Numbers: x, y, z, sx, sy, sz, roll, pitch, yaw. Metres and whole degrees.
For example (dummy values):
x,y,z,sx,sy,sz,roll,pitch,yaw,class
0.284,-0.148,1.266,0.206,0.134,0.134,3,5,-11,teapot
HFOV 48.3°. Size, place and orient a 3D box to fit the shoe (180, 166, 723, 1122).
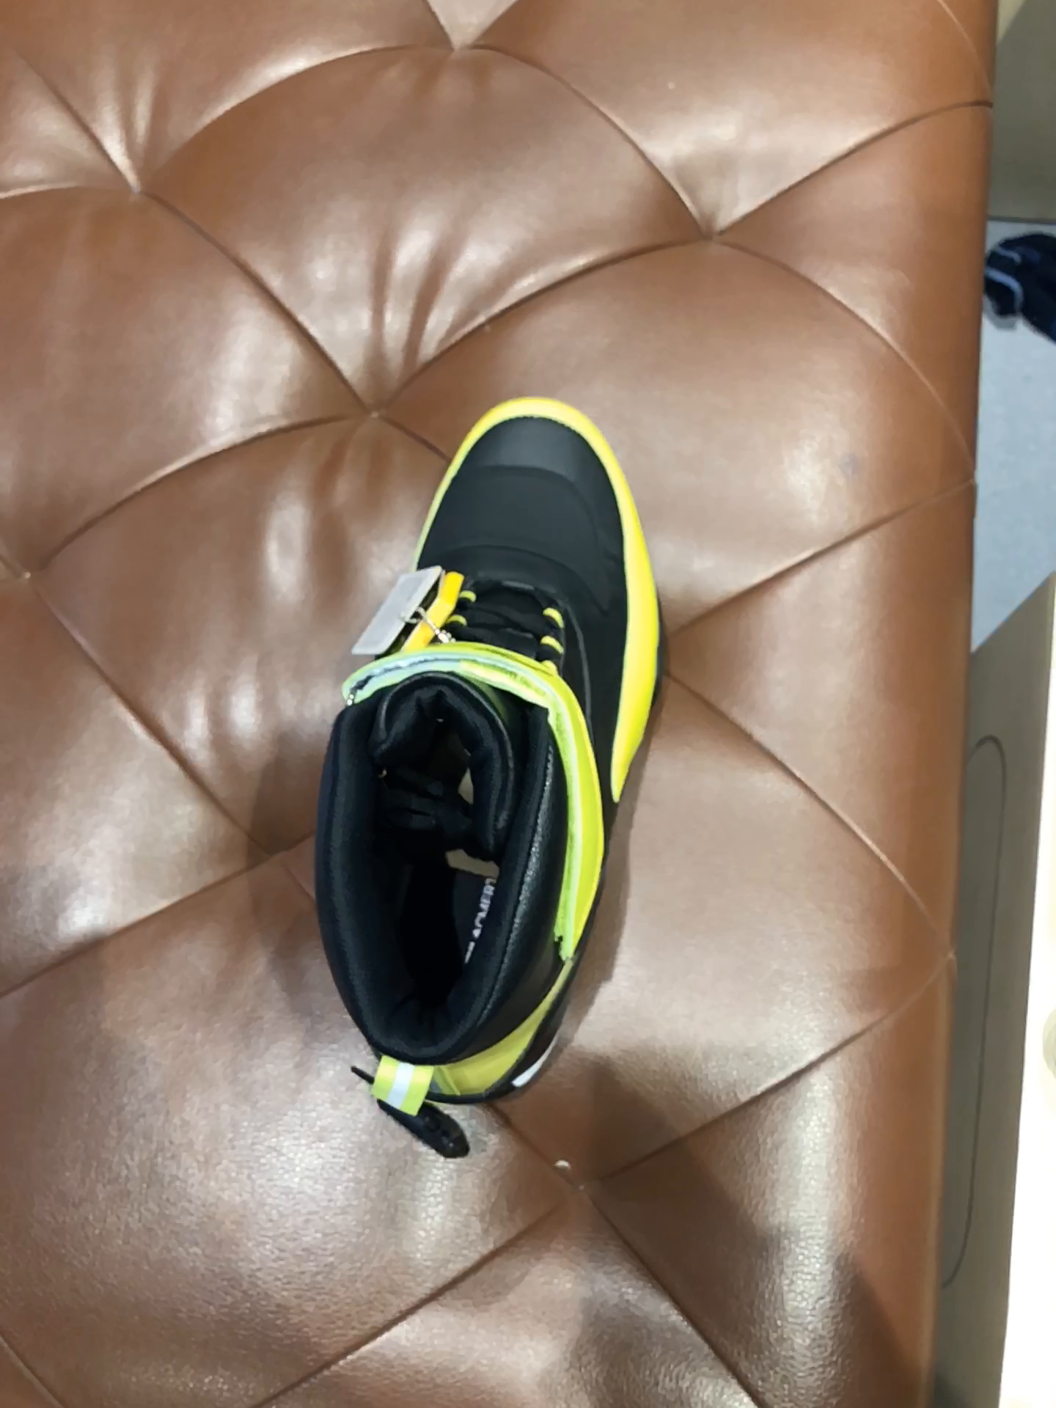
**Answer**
x,y,z,sx,sy,sz,roll,pitch,yaw,class
-0.011,-0.008,0.411,0.116,0.173,0.274,6,72,3,shoe
